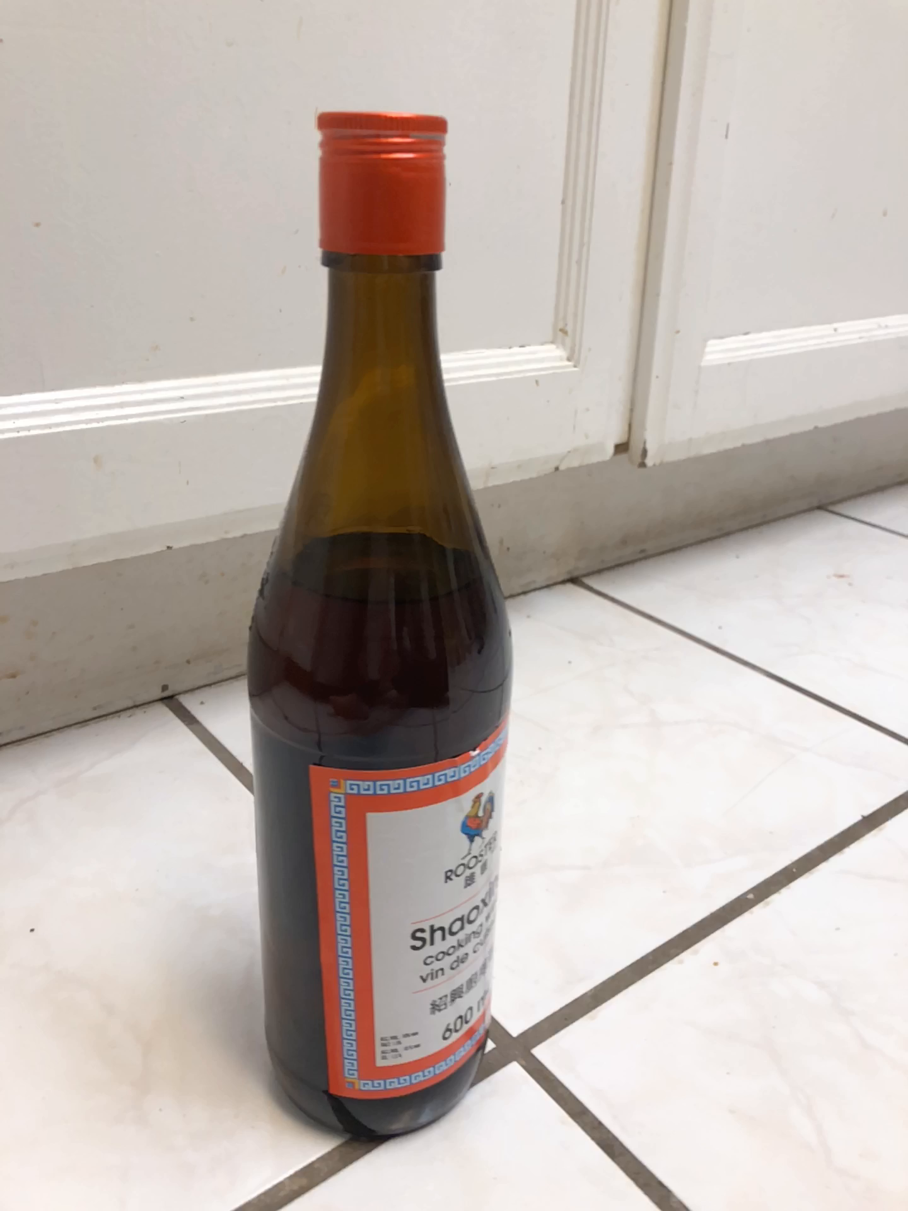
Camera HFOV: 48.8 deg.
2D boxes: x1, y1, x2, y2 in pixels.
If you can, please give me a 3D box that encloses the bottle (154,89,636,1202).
[{"bbox_3d":[-0.017,0.018,0.274,0.070,0.278,0.080,18,28,31],"label":"bottle"}]
